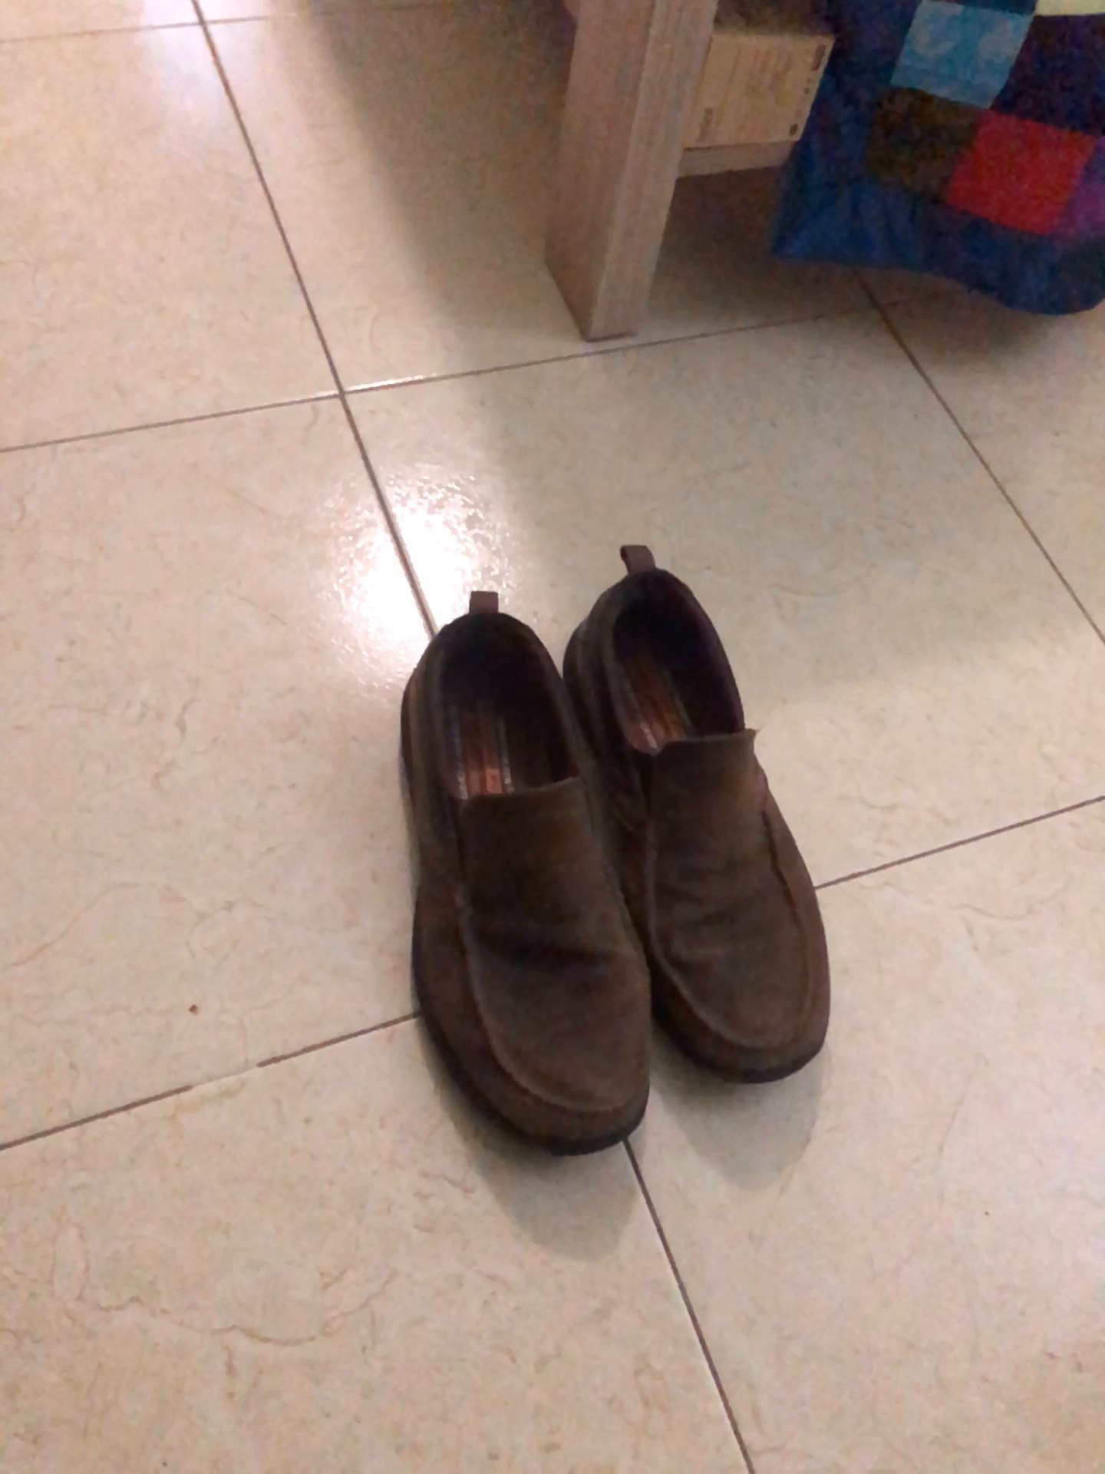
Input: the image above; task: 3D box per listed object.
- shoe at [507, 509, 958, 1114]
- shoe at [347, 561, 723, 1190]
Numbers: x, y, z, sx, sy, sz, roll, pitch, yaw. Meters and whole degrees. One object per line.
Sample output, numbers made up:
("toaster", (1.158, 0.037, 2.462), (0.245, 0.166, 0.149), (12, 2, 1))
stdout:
("shoe", (0.081, 0.031, 0.672), (0.130, 0.100, 0.300), (-11, 62, -14))
("shoe", (-0.024, 0.062, 0.646), (0.120, 0.100, 0.300), (-9, 61, -13))
